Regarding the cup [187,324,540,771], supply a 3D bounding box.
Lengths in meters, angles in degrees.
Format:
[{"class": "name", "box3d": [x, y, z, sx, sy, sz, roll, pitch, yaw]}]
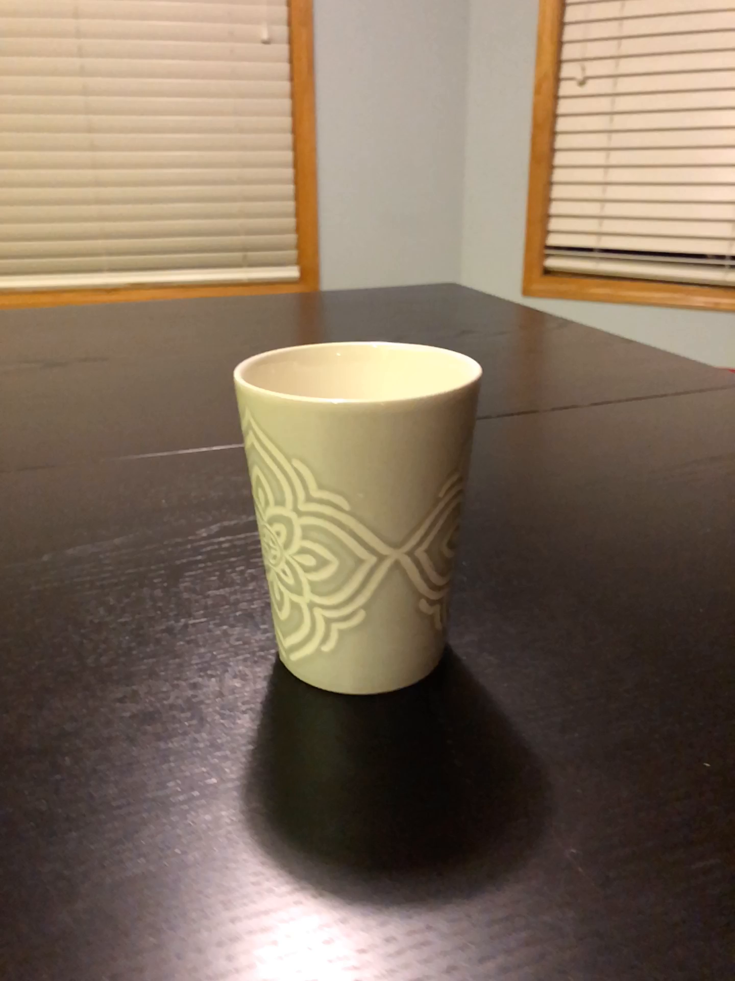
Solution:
[{"class": "cup", "box3d": [-0.011, 0.010, 0.340, 0.100, 0.129, 0.131, -7, 22, -18]}]
